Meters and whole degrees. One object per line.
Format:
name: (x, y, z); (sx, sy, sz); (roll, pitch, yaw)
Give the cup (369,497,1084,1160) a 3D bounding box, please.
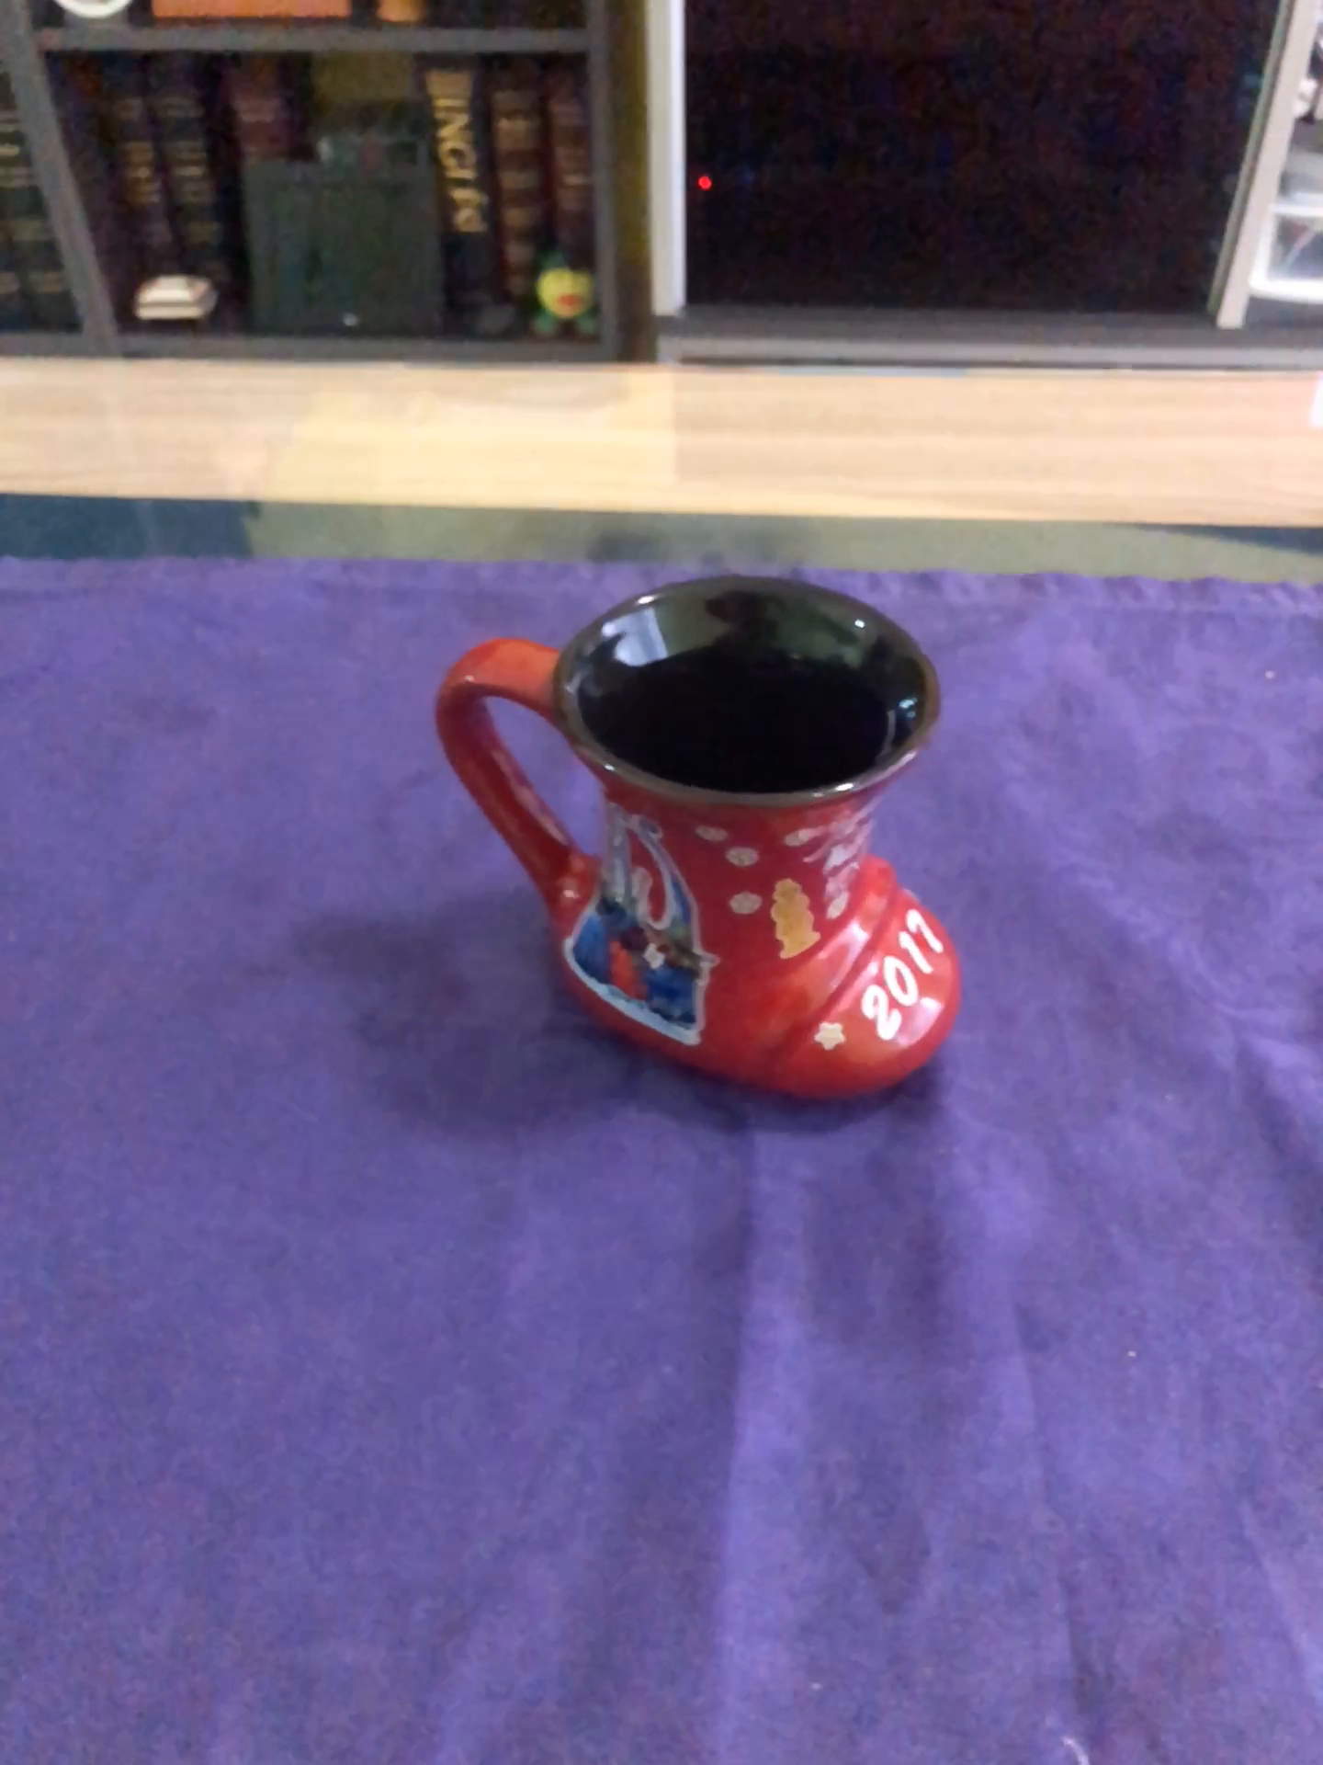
cup: (0.015, -0.014, 0.317); (0.120, 0.090, 0.070); (17, 47, 18)
